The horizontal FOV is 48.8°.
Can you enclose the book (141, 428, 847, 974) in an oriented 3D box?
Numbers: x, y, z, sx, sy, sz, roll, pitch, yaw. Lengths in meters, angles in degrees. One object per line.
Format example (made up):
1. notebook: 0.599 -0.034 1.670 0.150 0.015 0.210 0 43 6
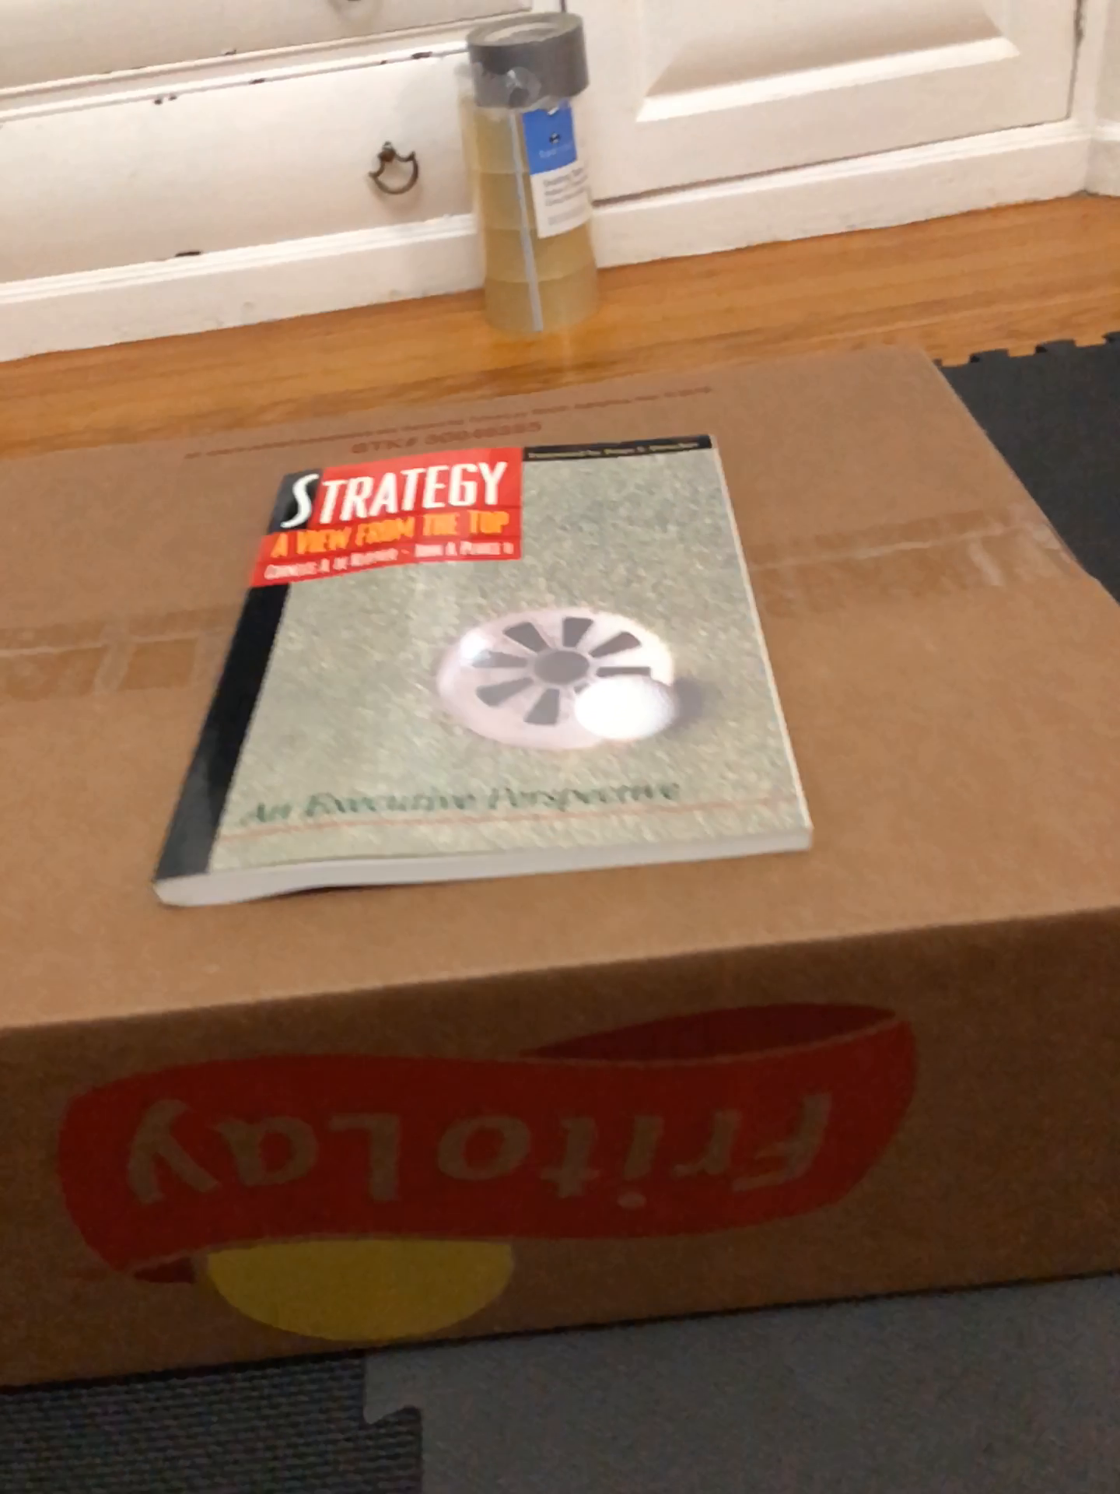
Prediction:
1. book: -0.019 -0.033 0.411 0.180 0.020 0.242 -6 40 4
